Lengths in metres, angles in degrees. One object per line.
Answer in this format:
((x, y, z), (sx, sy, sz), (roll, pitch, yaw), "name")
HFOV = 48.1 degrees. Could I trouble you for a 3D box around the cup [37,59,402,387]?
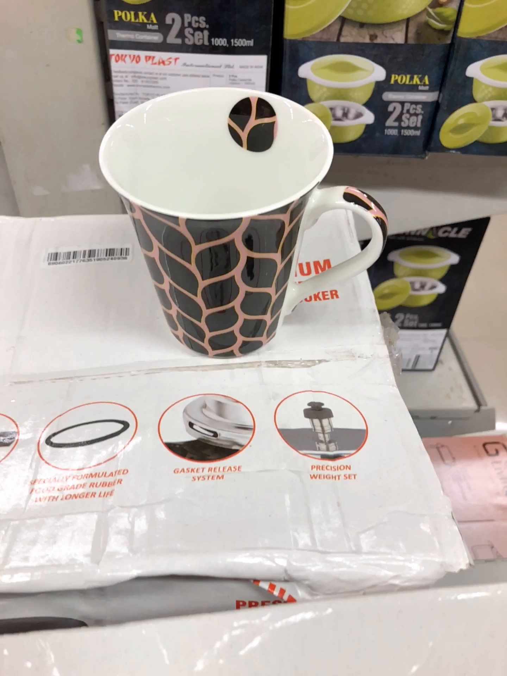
((-0.004, -0.049, 0.228), (0.110, 0.079, 0.091), (8, 47, 7), "cup")
